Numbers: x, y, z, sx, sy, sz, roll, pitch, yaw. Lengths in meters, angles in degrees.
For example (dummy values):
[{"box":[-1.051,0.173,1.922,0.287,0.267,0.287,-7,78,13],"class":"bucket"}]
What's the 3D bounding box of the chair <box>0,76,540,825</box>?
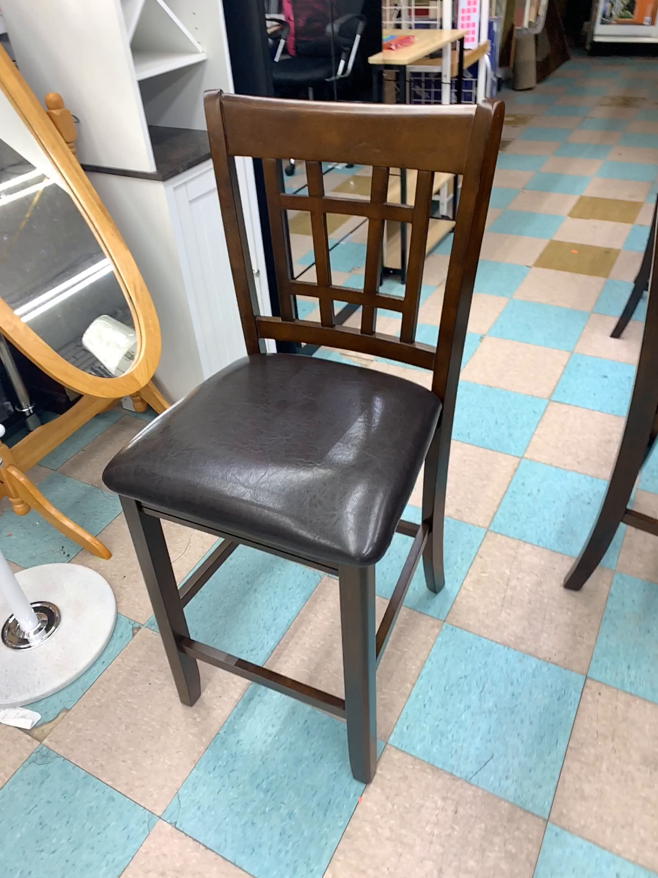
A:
[{"box":[-0.052,0.023,0.940,0.468,0.849,0.482,15,43,23],"class":"chair"}]
